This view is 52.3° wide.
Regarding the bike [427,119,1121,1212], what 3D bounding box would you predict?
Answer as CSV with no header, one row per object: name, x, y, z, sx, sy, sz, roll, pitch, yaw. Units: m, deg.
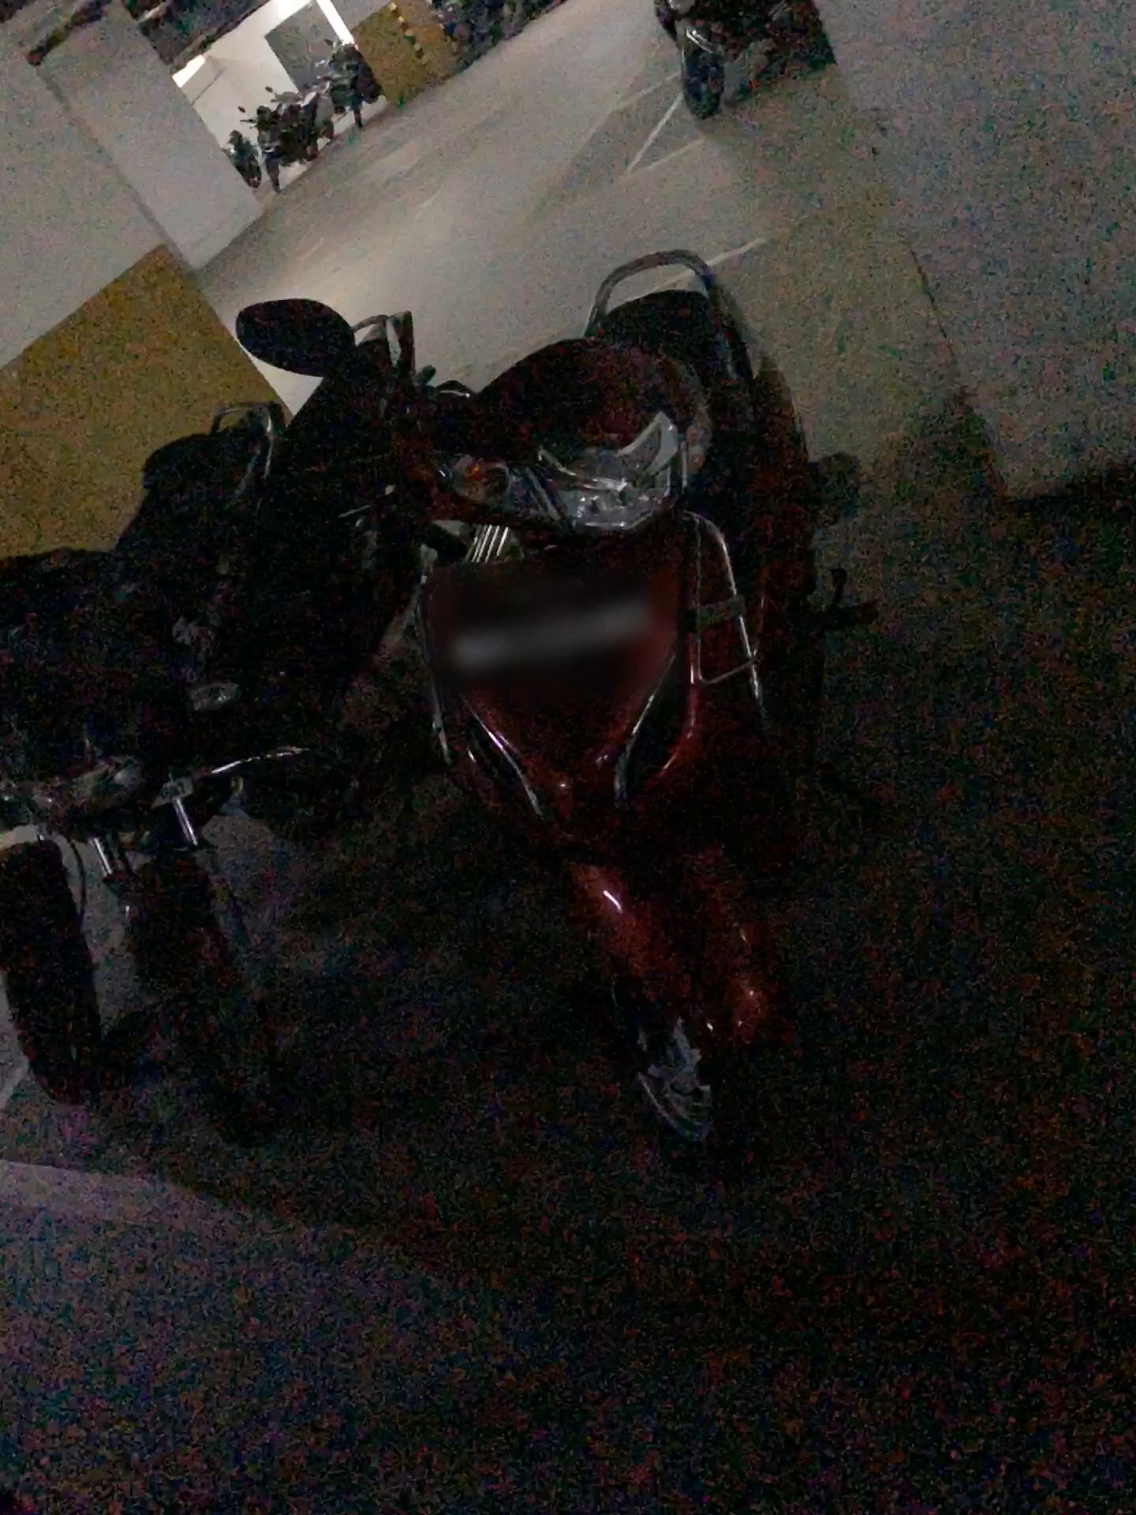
bike,0.247,-0.215,1.922,0.488,0.908,1.396,-25,42,18
